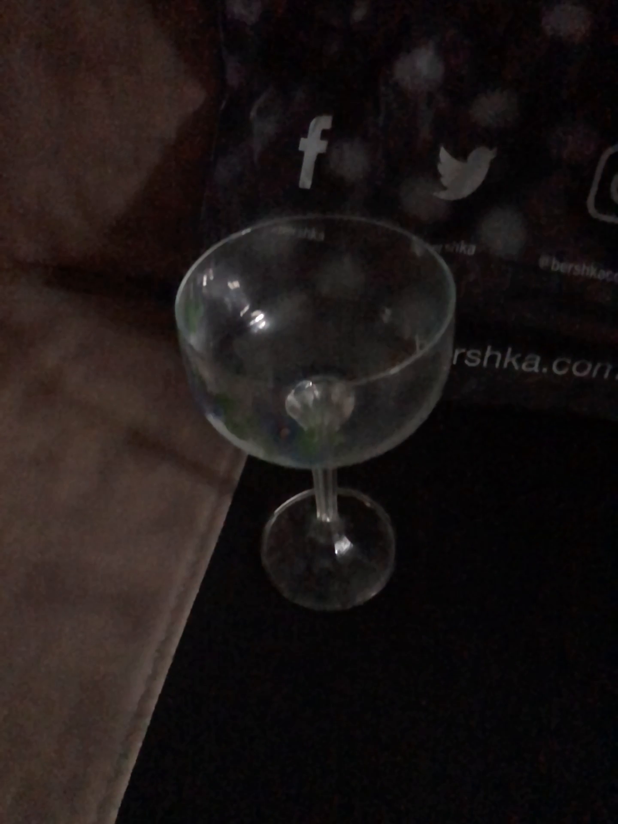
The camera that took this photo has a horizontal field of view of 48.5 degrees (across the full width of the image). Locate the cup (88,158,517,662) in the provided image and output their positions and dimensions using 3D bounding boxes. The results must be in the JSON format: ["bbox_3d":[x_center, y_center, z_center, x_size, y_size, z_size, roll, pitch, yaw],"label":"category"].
[{"bbox_3d":[0.000,0.005,0.261,0.096,0.147,0.085,35,60,27],"label":"cup"}]
